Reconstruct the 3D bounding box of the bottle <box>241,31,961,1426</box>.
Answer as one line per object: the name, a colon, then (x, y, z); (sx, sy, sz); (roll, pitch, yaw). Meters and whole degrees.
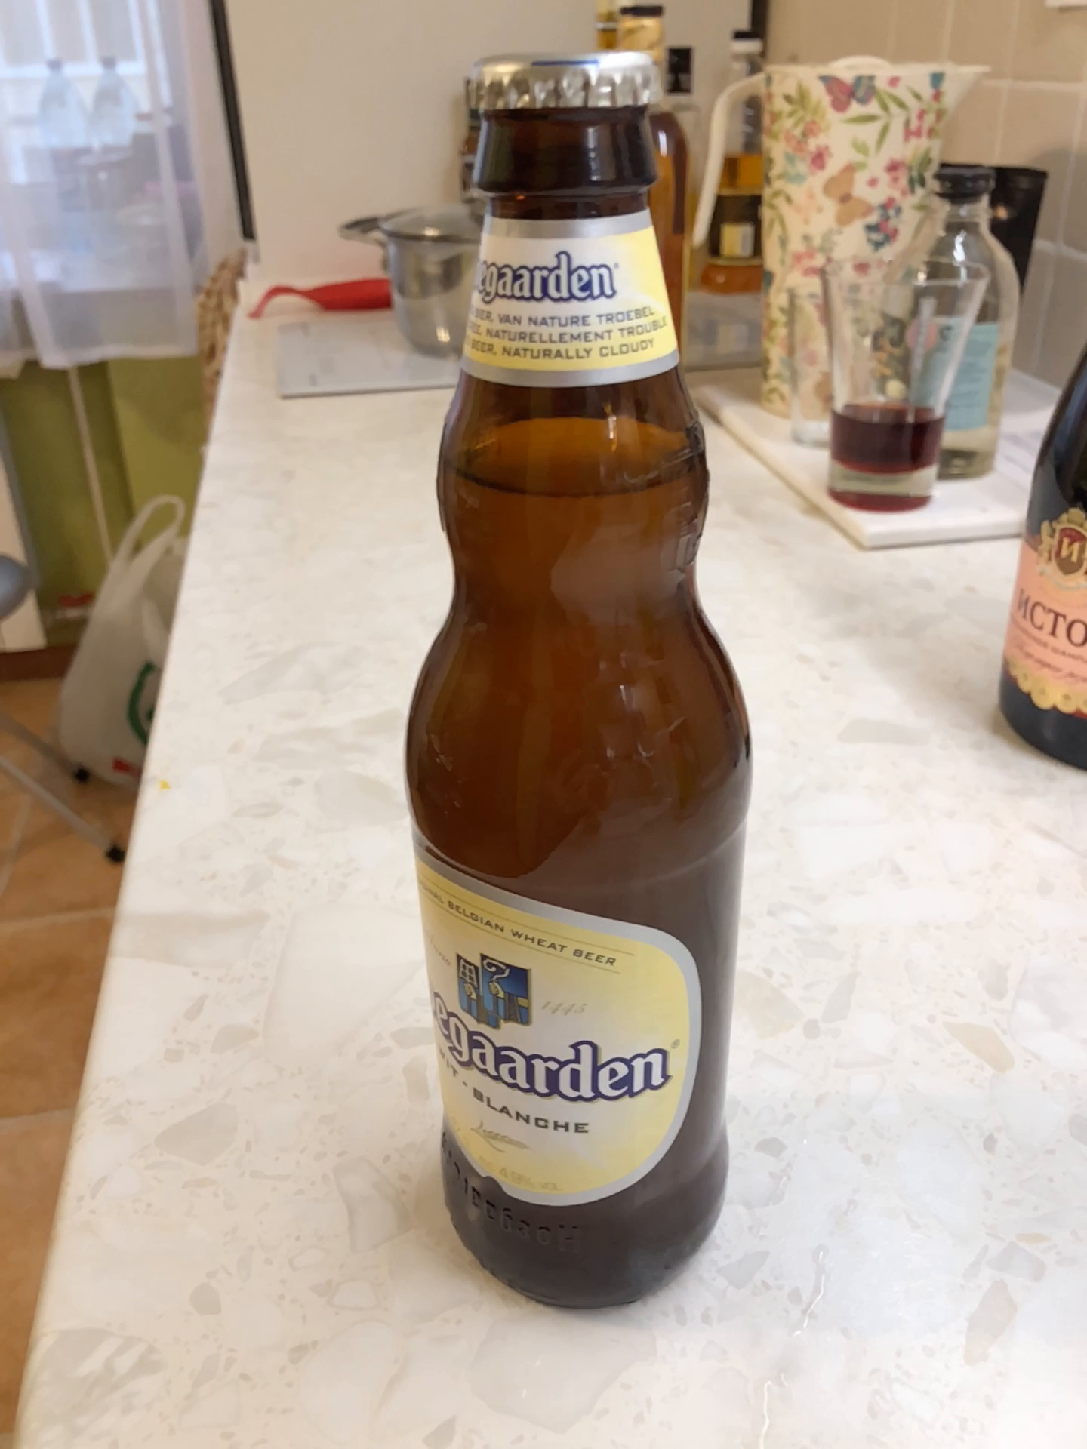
bottle: (0.013, 0.009, 0.234); (0.070, 0.248, 0.080); (21, 36, 34)
